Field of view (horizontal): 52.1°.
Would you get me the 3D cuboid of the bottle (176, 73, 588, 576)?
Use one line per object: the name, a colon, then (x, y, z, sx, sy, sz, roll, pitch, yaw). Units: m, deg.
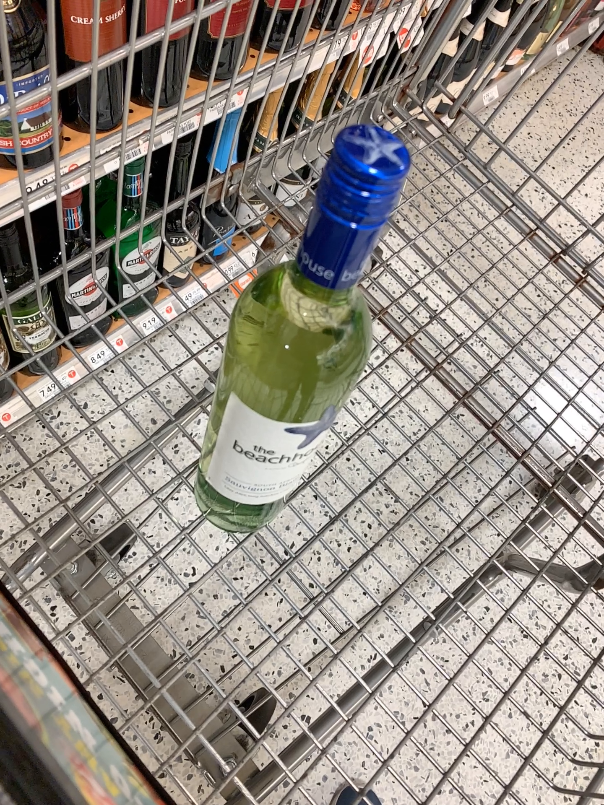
bottle: (0.001, -0.001, 0.359, 0.090, 0.338, 0.090, 7, 60, -13)
